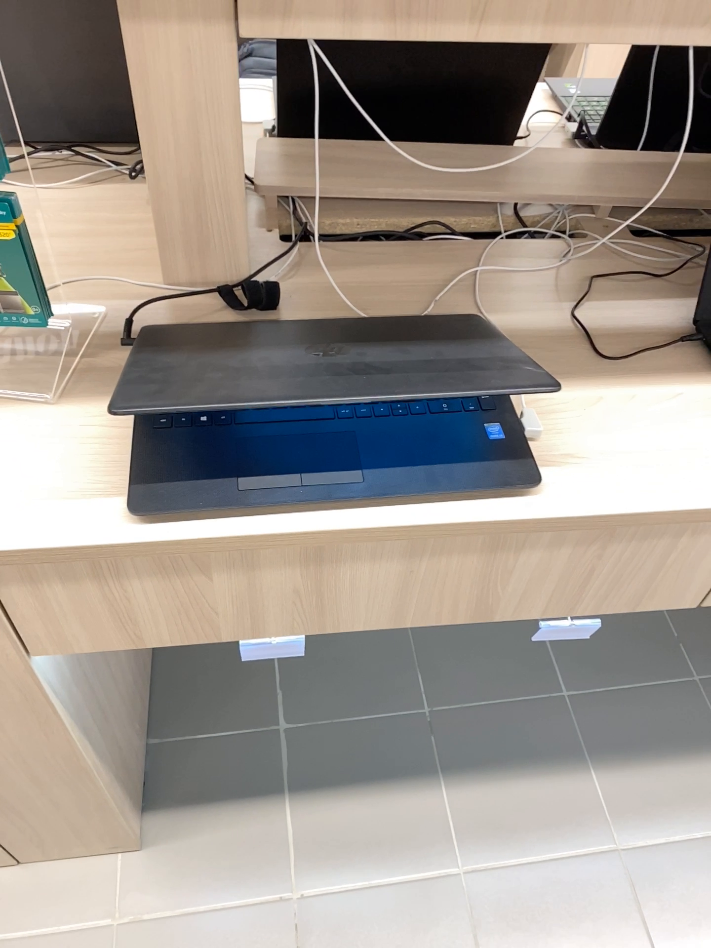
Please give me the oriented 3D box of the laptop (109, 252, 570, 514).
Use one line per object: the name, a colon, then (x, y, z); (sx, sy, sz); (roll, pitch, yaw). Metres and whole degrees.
laptop: (-0.024, -0.101, 0.696); (0.372, 0.093, 0.252); (-3, 49, -8)
